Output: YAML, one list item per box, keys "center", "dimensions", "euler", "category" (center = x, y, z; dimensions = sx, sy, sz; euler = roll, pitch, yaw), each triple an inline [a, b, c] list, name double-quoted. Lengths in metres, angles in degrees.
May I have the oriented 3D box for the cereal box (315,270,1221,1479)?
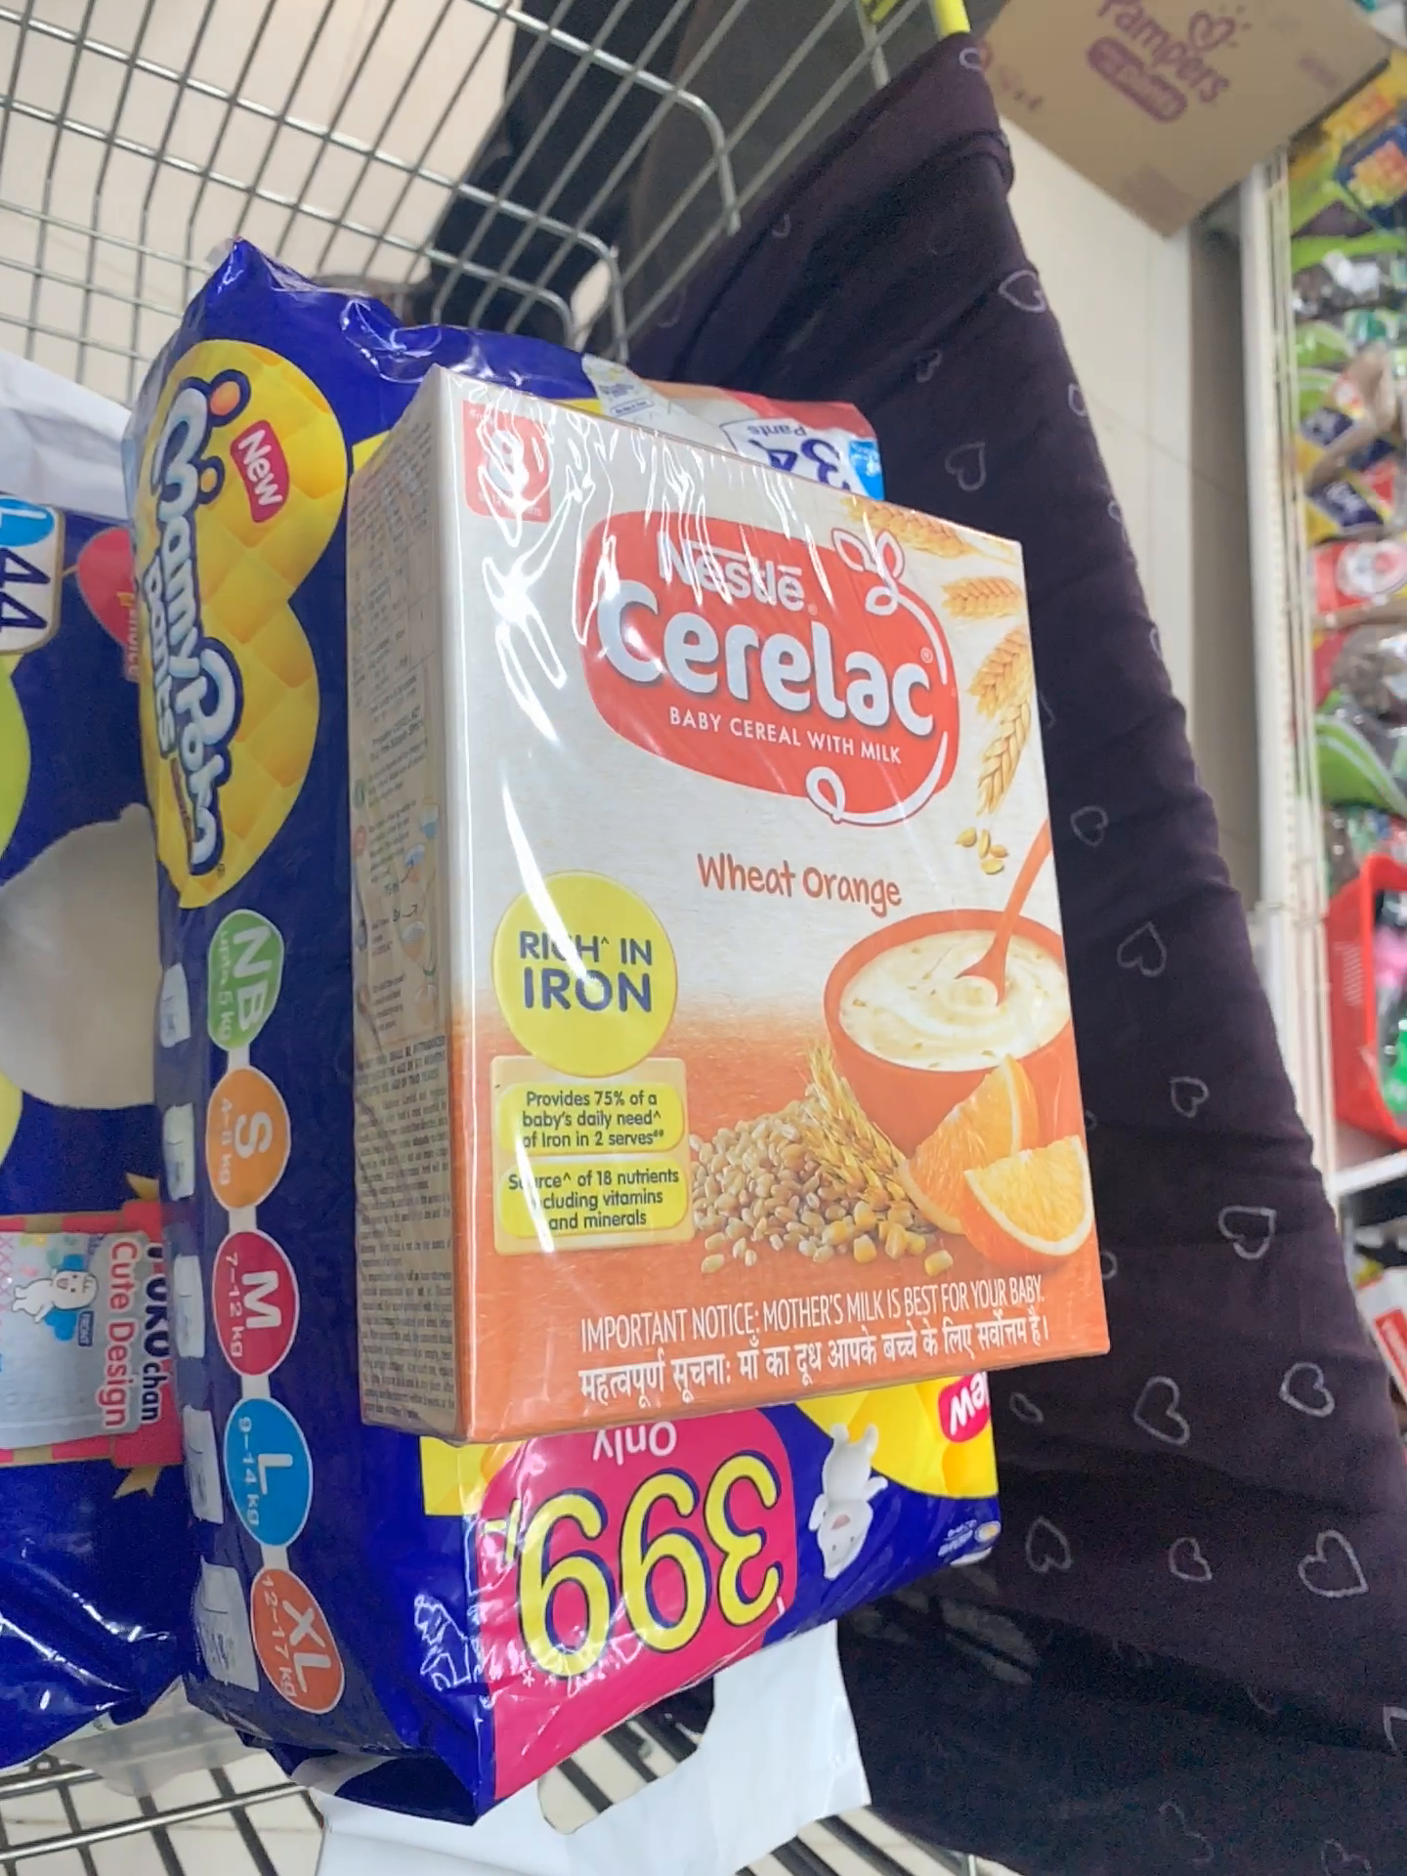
- center: [0.015, -0.008, 0.289]
  dimensions: [0.171, 0.050, 0.190]
  euler: [4, 77, -33]
  category: "cereal box"
